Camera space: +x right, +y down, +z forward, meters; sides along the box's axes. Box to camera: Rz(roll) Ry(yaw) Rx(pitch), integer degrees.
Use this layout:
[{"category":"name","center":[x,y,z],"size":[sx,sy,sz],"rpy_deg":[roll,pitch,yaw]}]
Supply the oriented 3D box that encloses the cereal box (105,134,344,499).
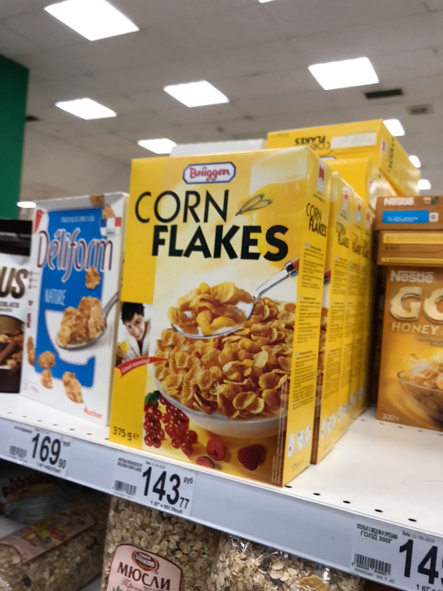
[{"category":"cereal box","center":[0.000,0.011,0.487],"size":[0.200,0.300,0.080],"rpy_deg":[4,0,28]}]
